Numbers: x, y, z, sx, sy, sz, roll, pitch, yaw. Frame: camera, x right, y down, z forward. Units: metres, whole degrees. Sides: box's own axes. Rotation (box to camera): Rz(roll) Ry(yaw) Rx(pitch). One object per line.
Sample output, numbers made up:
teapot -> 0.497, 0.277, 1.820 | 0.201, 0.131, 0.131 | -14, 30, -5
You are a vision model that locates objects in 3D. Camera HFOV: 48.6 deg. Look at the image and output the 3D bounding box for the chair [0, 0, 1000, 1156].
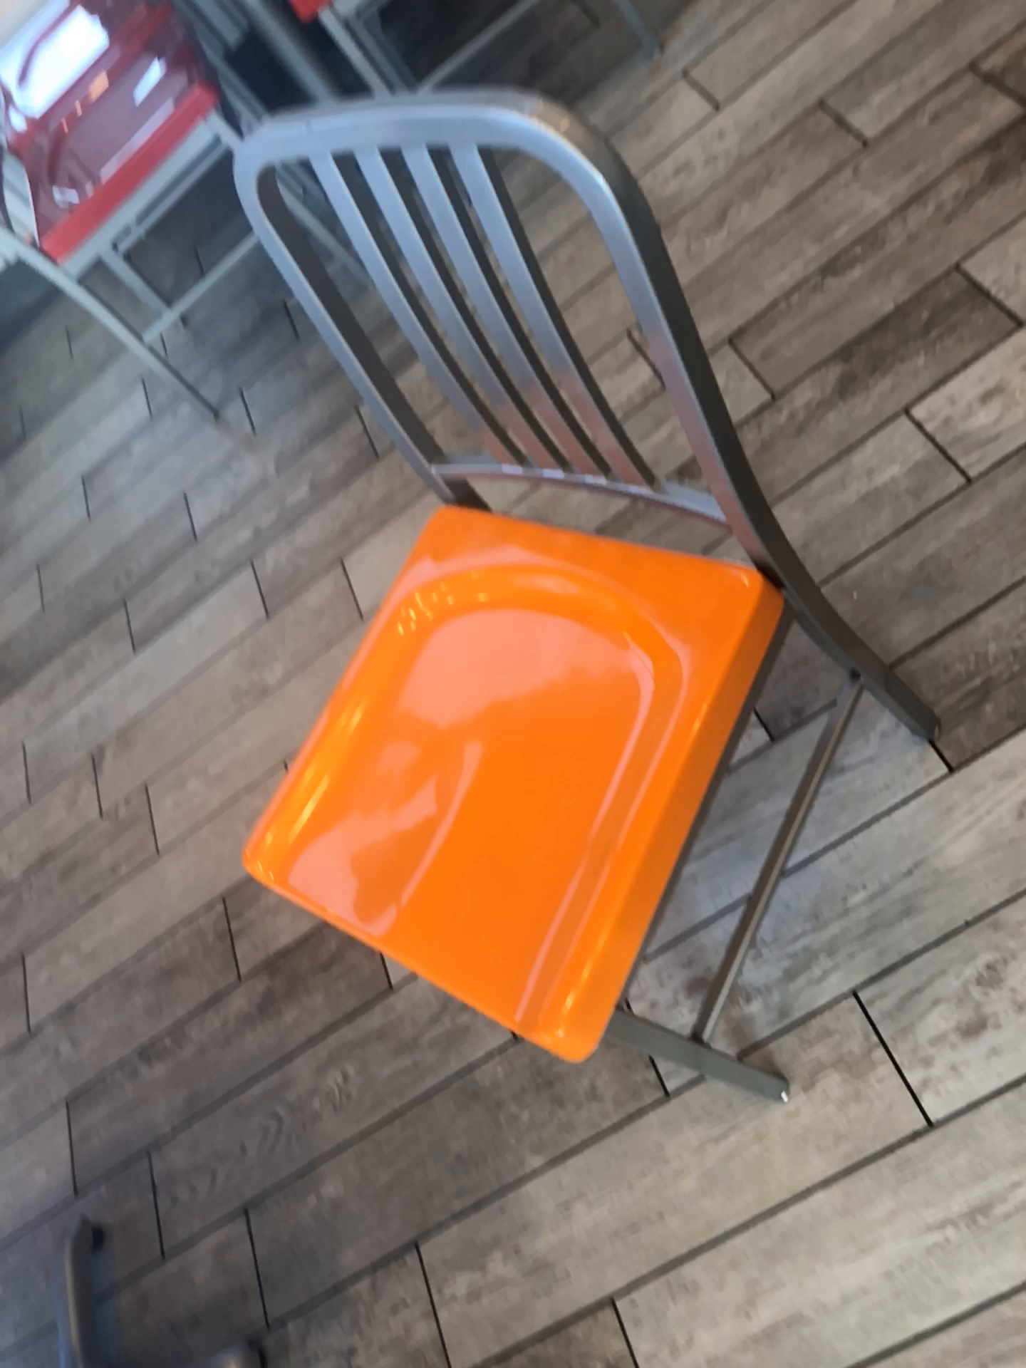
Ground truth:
chair -> 0.002, 0.002, 0.958 | 0.472, 0.817, 0.510 | 17, 77, 39
